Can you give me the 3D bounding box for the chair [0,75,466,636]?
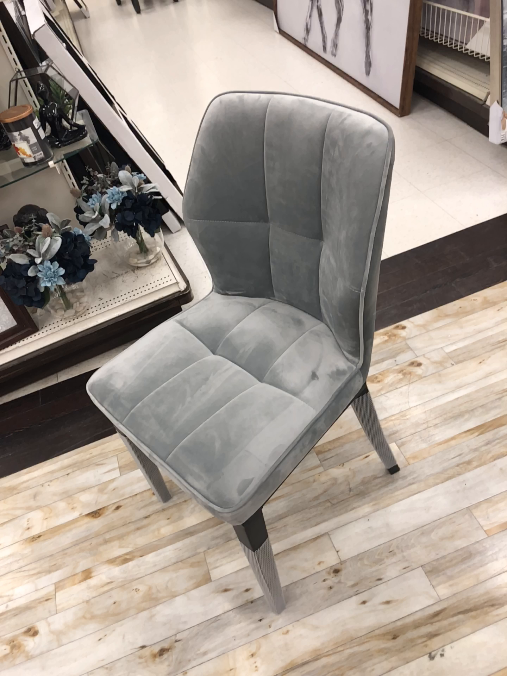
[{"bbox_3d":[0.005,0.039,1.131,0.570,0.837,0.532,-40,48,-24],"label":"chair"}]
